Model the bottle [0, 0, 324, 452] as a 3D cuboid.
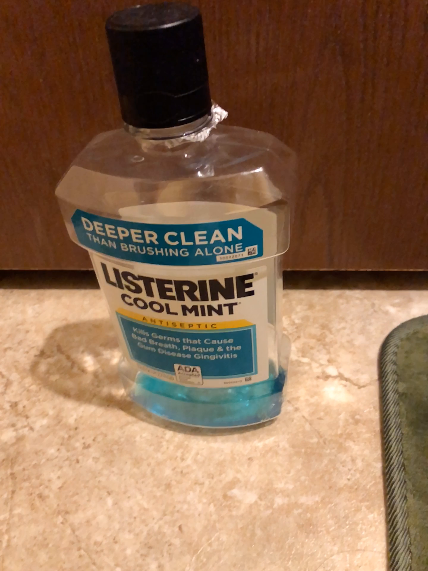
[{"bbox_3d":[-0.018,-0.018,0.254,0.130,0.220,0.090,5,44,12],"label":"bottle"}]
